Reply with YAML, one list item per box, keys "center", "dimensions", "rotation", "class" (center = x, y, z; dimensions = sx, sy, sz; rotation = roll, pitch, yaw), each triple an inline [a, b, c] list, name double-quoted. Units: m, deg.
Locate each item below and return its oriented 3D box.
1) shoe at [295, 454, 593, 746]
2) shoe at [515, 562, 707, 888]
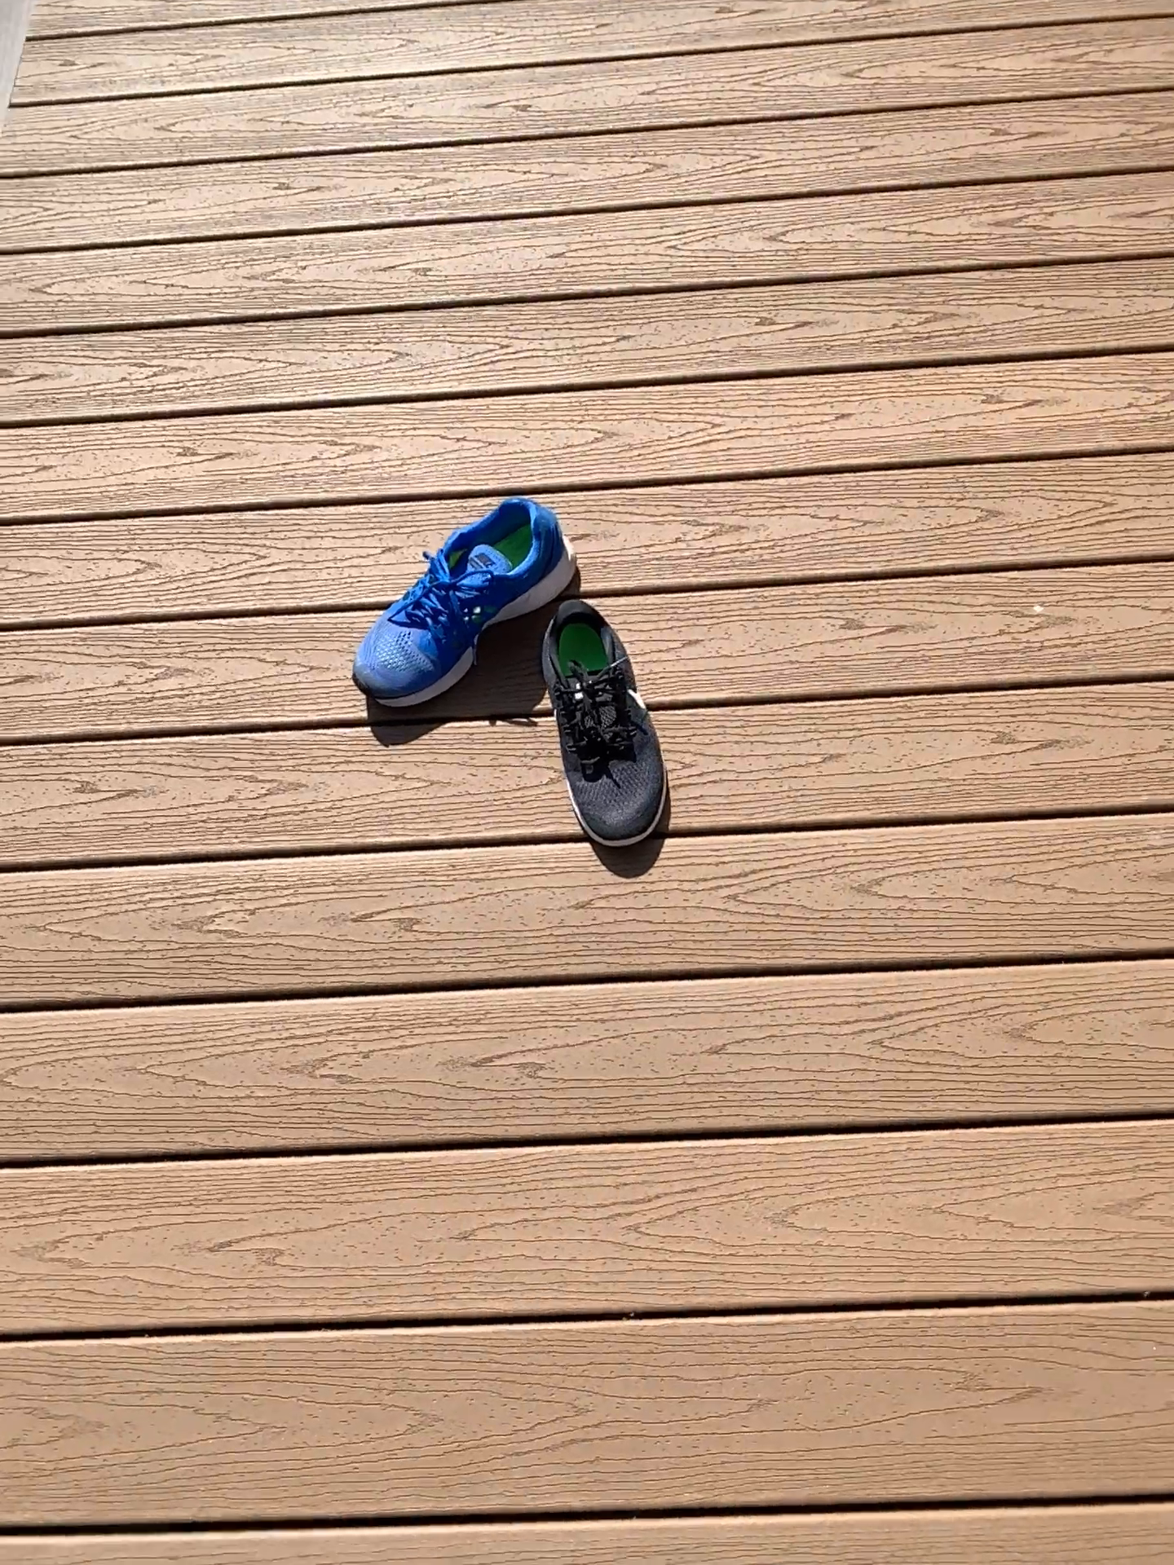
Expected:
- center: [-0.145, -0.196, 1.291]
  dimensions: [0.290, 0.130, 0.120]
  rotation: [-39, 69, -13]
  class: "shoe"
- center: [0.022, -0.060, 1.201]
  dimensions: [0.120, 0.110, 0.291]
  rotation: [-13, 65, -2]
  class: "shoe"
